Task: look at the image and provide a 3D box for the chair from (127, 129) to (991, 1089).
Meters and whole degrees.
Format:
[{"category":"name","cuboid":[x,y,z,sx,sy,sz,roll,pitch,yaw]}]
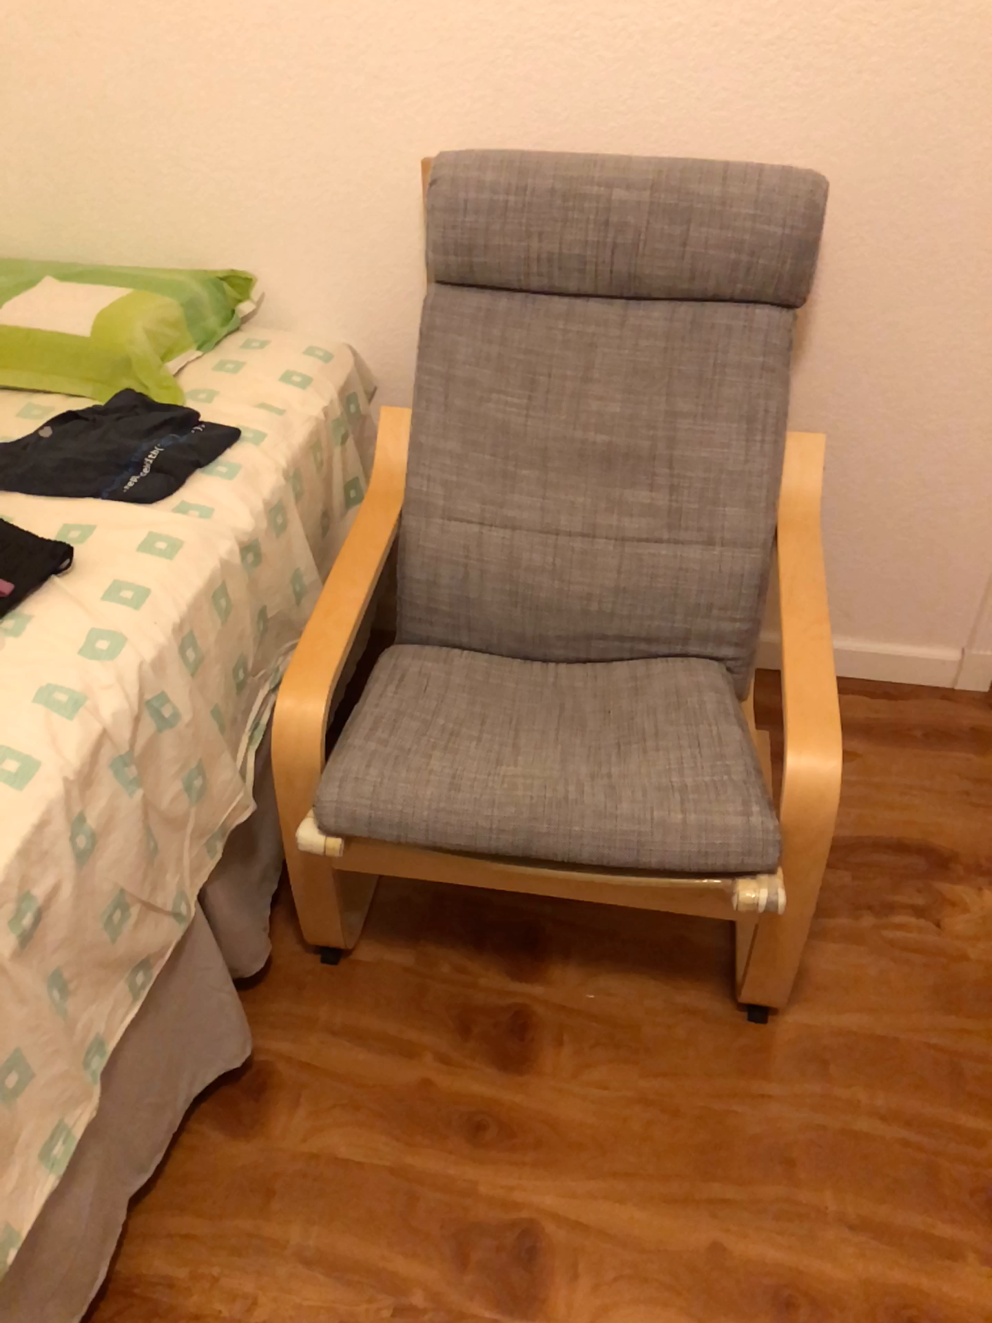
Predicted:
[{"category":"chair","cuboid":[0.108,-0.110,1.416,0.680,0.885,0.805,7,38,8]}]
